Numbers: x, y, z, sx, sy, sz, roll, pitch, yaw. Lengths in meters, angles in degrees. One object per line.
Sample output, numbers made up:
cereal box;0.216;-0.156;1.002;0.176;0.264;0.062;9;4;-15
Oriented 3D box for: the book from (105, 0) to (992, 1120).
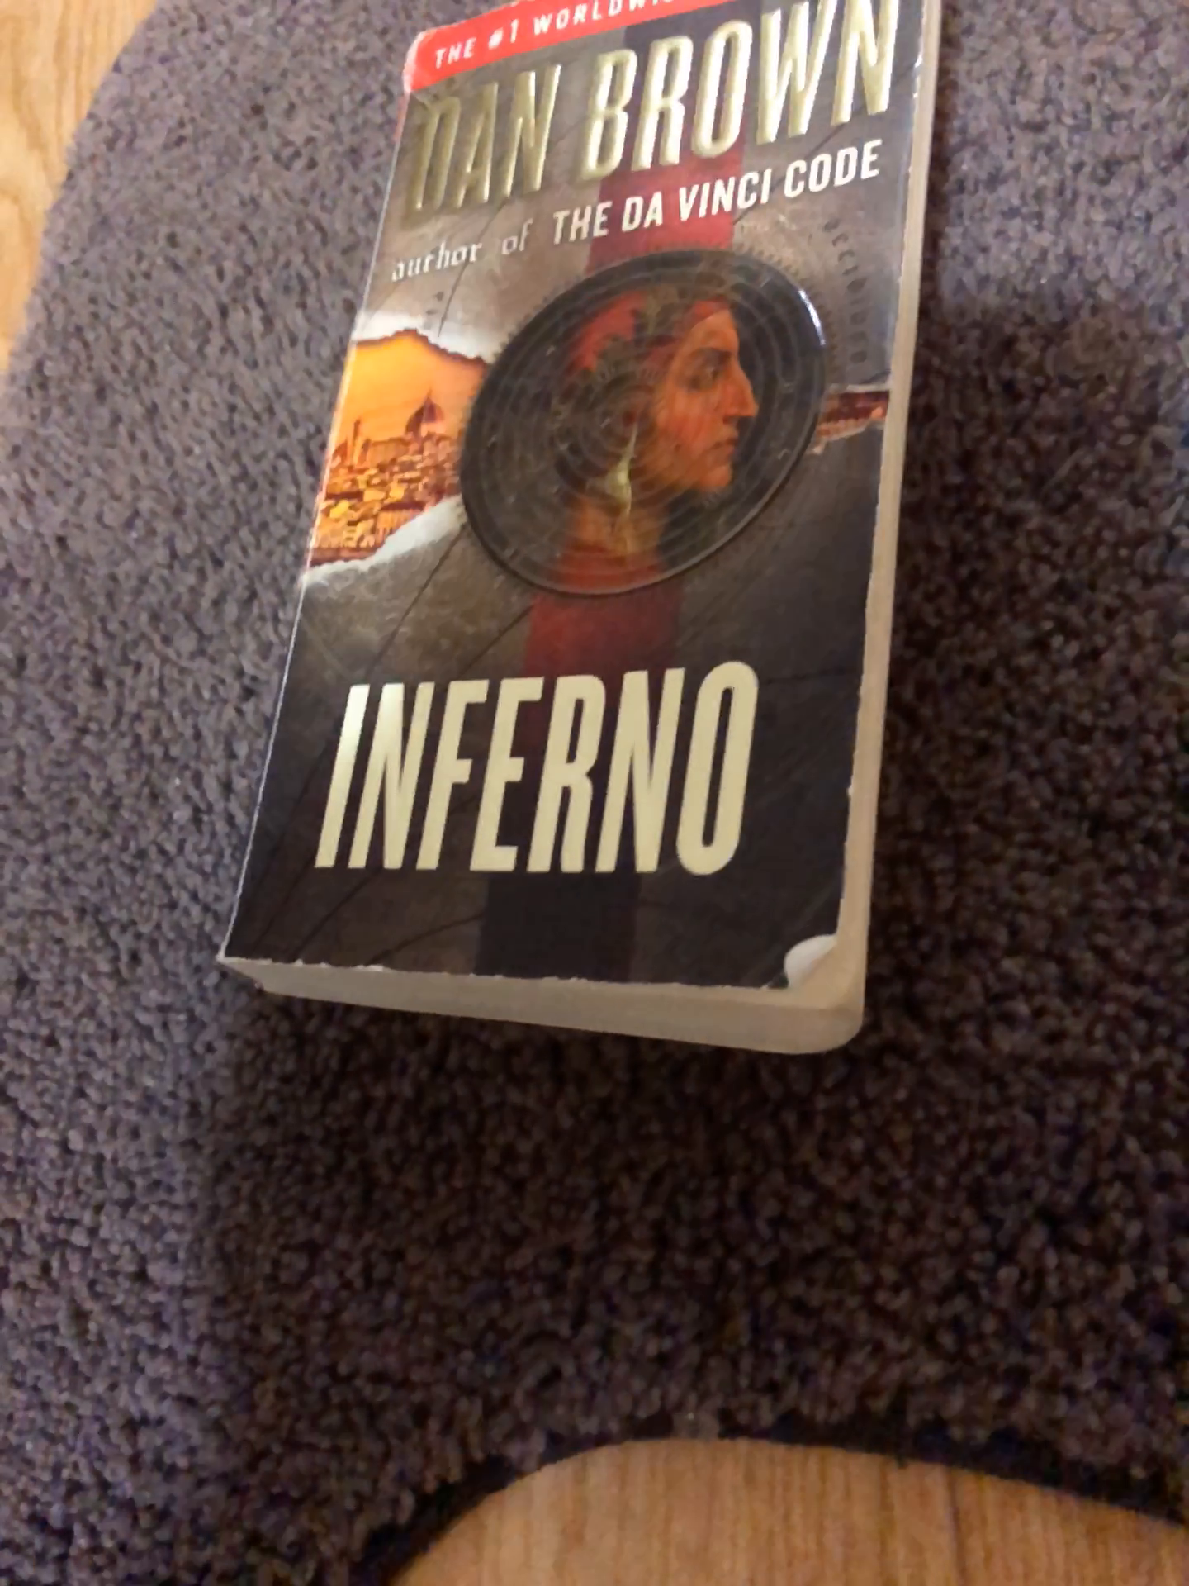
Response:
book;0.000;-0.053;0.236;0.120;0.050;0.200;1;73;24
